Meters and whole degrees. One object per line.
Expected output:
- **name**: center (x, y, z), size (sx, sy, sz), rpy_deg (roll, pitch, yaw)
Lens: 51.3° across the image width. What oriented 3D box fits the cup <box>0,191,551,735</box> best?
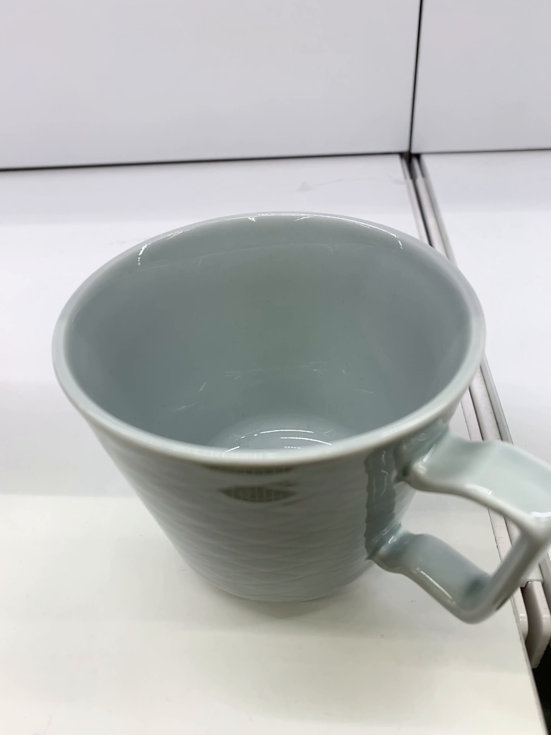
- **cup**: center (0.010, 0.021, 0.167), size (0.124, 0.088, 0.109), rpy_deg (25, 46, 32)
